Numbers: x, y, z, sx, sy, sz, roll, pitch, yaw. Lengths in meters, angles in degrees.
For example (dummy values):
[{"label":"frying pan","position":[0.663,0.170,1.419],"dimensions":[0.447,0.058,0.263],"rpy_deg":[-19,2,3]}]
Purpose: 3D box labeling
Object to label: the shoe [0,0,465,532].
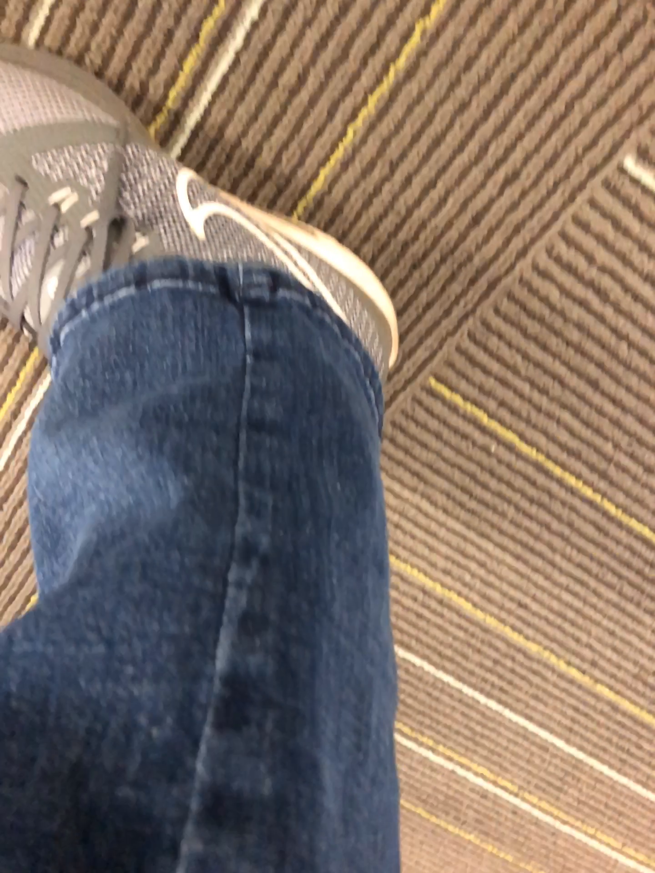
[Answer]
[{"label":"shoe","position":[-0.103,-0.086,0.319],"dimensions":[0.300,0.060,0.120],"rpy_deg":[28,121,-2]}]
